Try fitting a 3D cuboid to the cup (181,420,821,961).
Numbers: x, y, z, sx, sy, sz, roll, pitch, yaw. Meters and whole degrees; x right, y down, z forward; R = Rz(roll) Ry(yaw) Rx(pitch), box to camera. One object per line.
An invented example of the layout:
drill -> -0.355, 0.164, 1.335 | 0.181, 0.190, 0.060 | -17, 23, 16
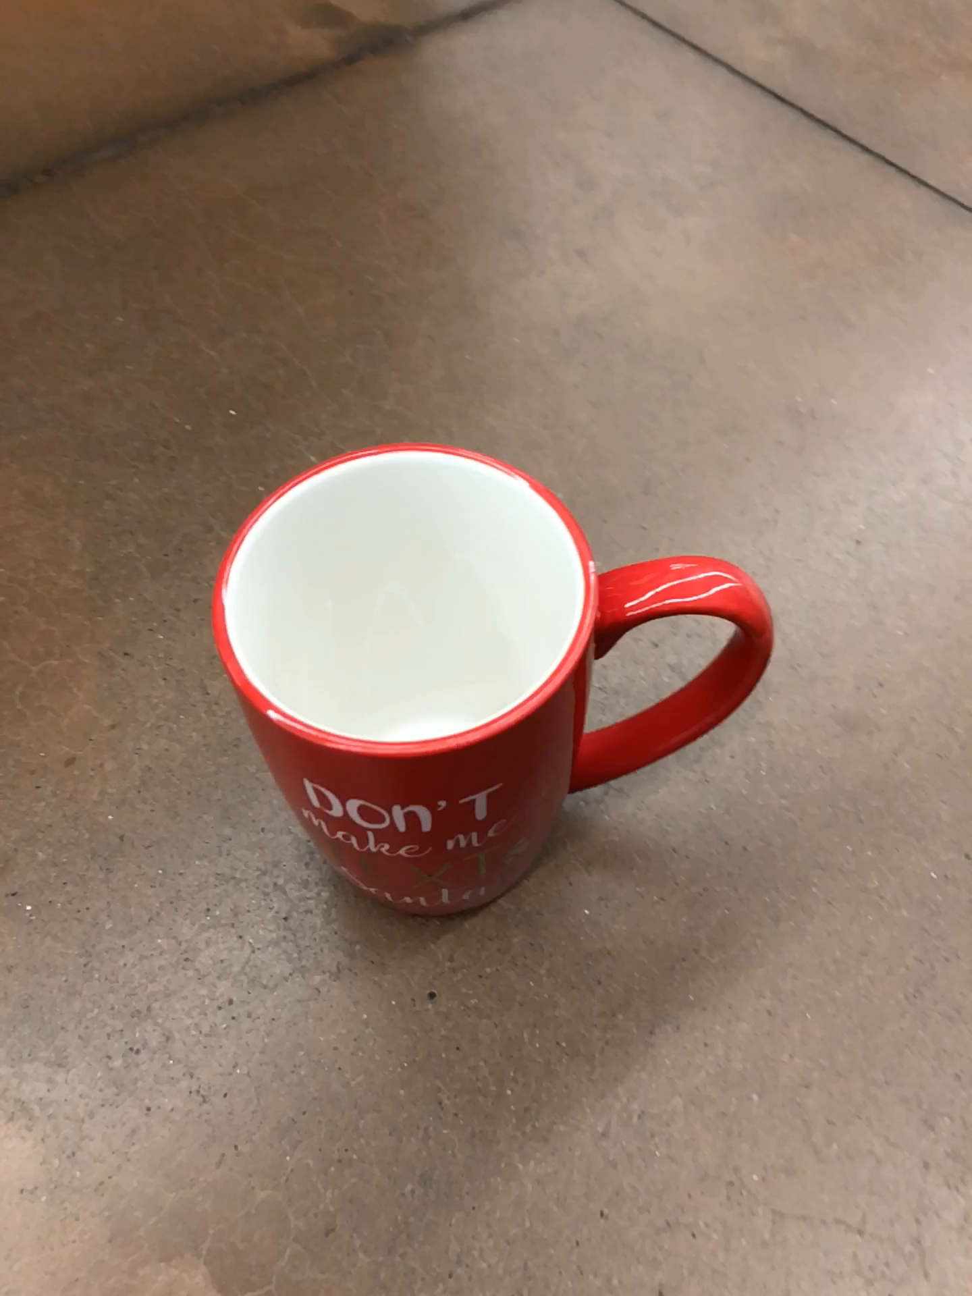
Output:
cup -> 0.003, 0.019, 0.299 | 0.130, 0.130, 0.090 | -2, 56, 0
